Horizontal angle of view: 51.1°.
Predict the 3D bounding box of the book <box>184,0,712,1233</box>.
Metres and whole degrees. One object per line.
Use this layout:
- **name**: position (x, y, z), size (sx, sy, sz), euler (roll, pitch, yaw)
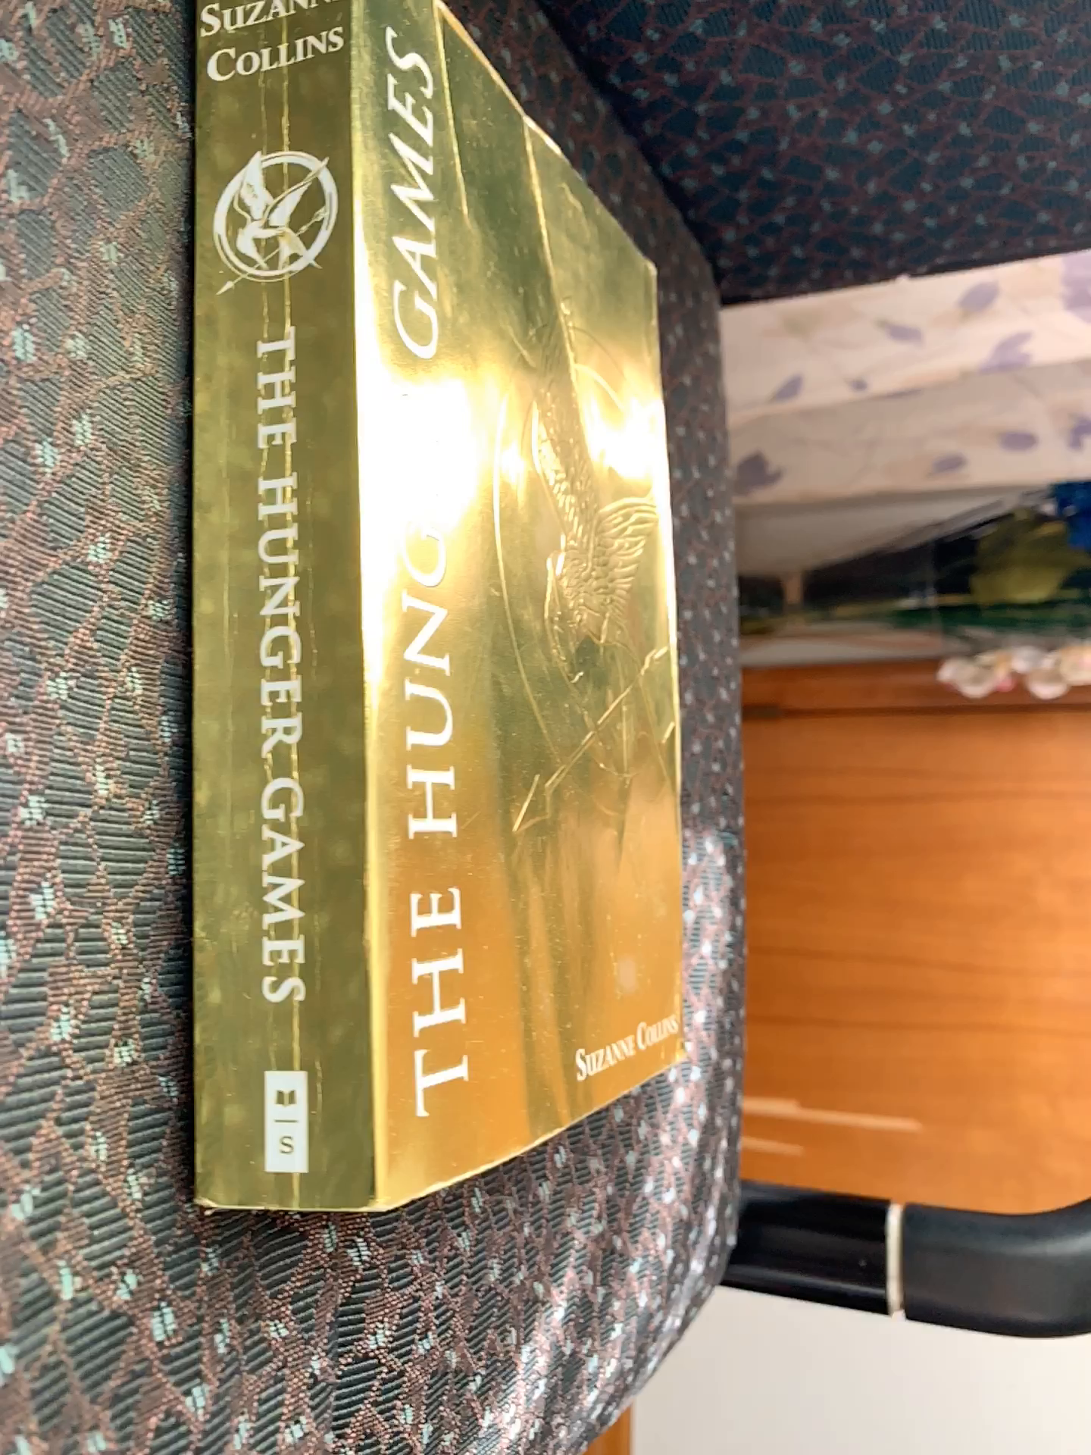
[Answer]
- **book**: position (-0.009, -0.025, 0.234), size (0.142, 0.037, 0.200), euler (12, 74, -65)
